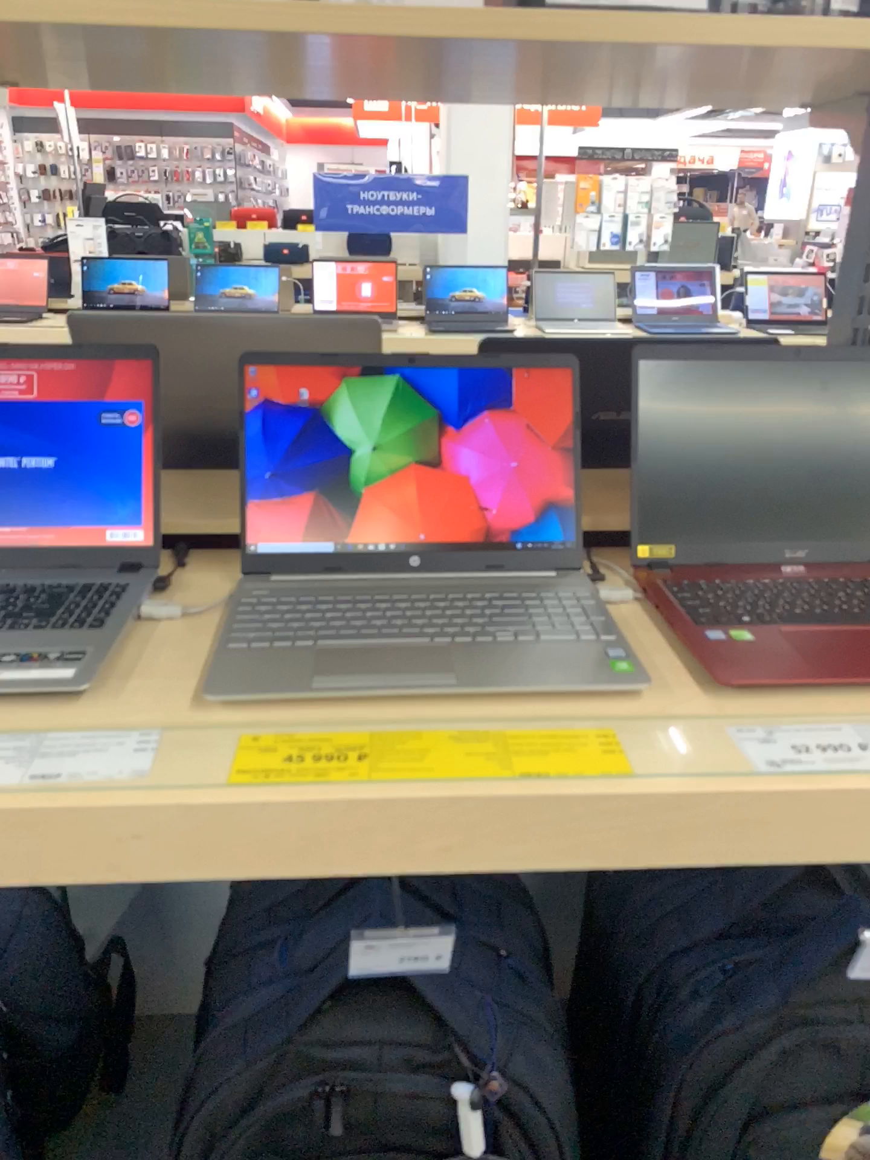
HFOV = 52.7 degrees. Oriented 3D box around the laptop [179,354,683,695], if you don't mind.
[{"bbox_3d":[-0.013,-0.077,0.824,0.359,0.209,0.349,-1,23,-4],"label":"laptop"}]
